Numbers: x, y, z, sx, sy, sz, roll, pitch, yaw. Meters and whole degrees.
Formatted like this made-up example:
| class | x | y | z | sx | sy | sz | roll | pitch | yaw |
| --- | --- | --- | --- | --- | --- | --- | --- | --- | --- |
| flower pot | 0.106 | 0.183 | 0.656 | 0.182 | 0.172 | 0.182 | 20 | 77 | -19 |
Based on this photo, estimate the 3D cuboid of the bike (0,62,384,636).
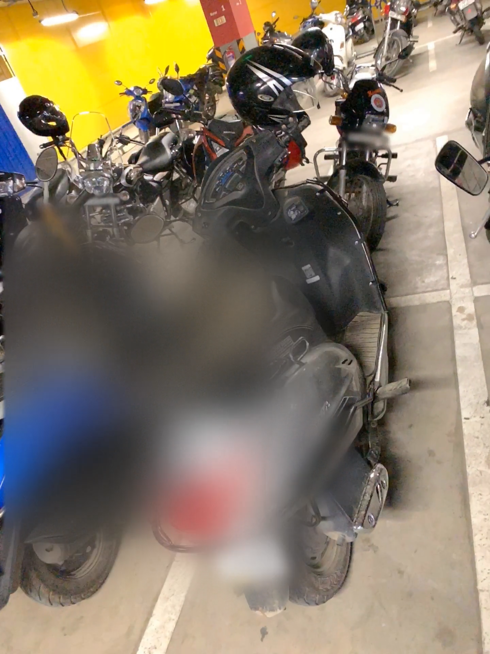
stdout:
| class | x | y | z | sx | sy | sz | roll | pitch | yaw |
| --- | --- | --- | --- | --- | --- | --- | --- | --- | --- |
| bike | 0.052 | -0.061 | 1.761 | 0.632 | 1.089 | 1.537 | -9 | 35 | 22 |
